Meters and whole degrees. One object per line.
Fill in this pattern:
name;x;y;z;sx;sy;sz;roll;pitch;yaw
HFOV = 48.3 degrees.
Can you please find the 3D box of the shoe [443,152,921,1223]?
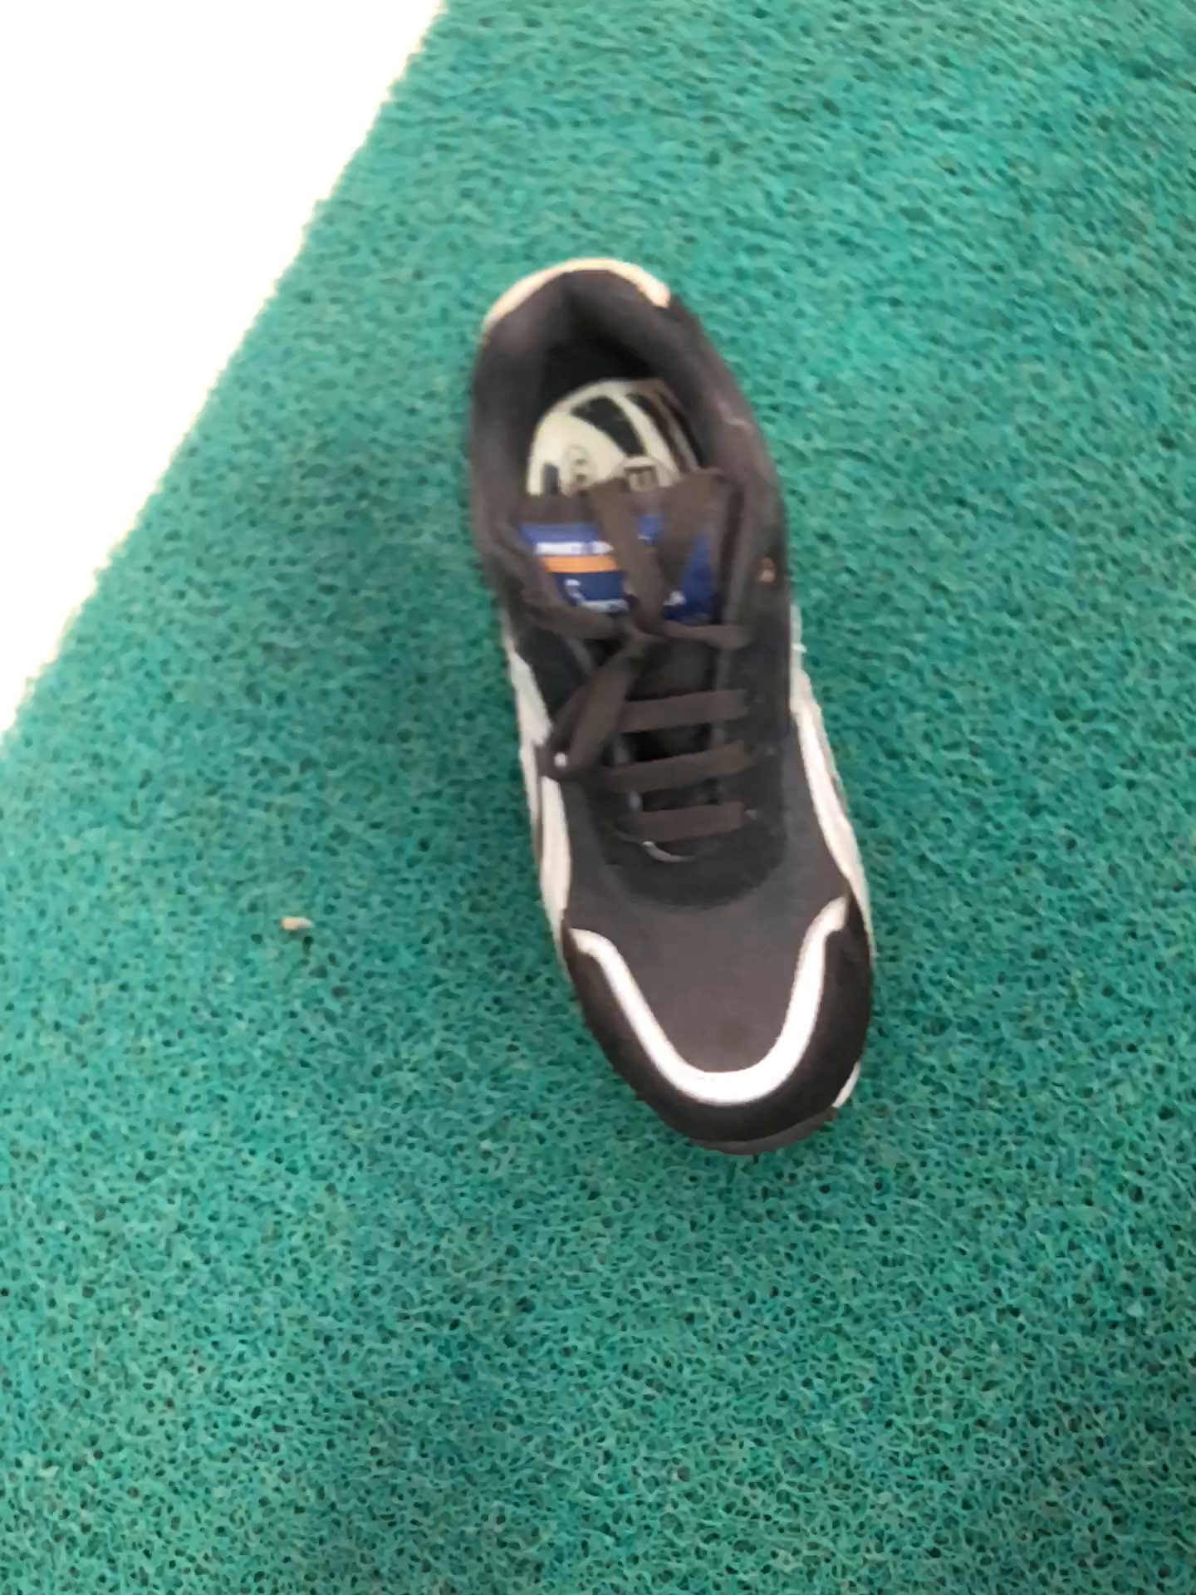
shoe;0.027;-0.029;0.417;0.100;0.110;0.290;-8;78;10
